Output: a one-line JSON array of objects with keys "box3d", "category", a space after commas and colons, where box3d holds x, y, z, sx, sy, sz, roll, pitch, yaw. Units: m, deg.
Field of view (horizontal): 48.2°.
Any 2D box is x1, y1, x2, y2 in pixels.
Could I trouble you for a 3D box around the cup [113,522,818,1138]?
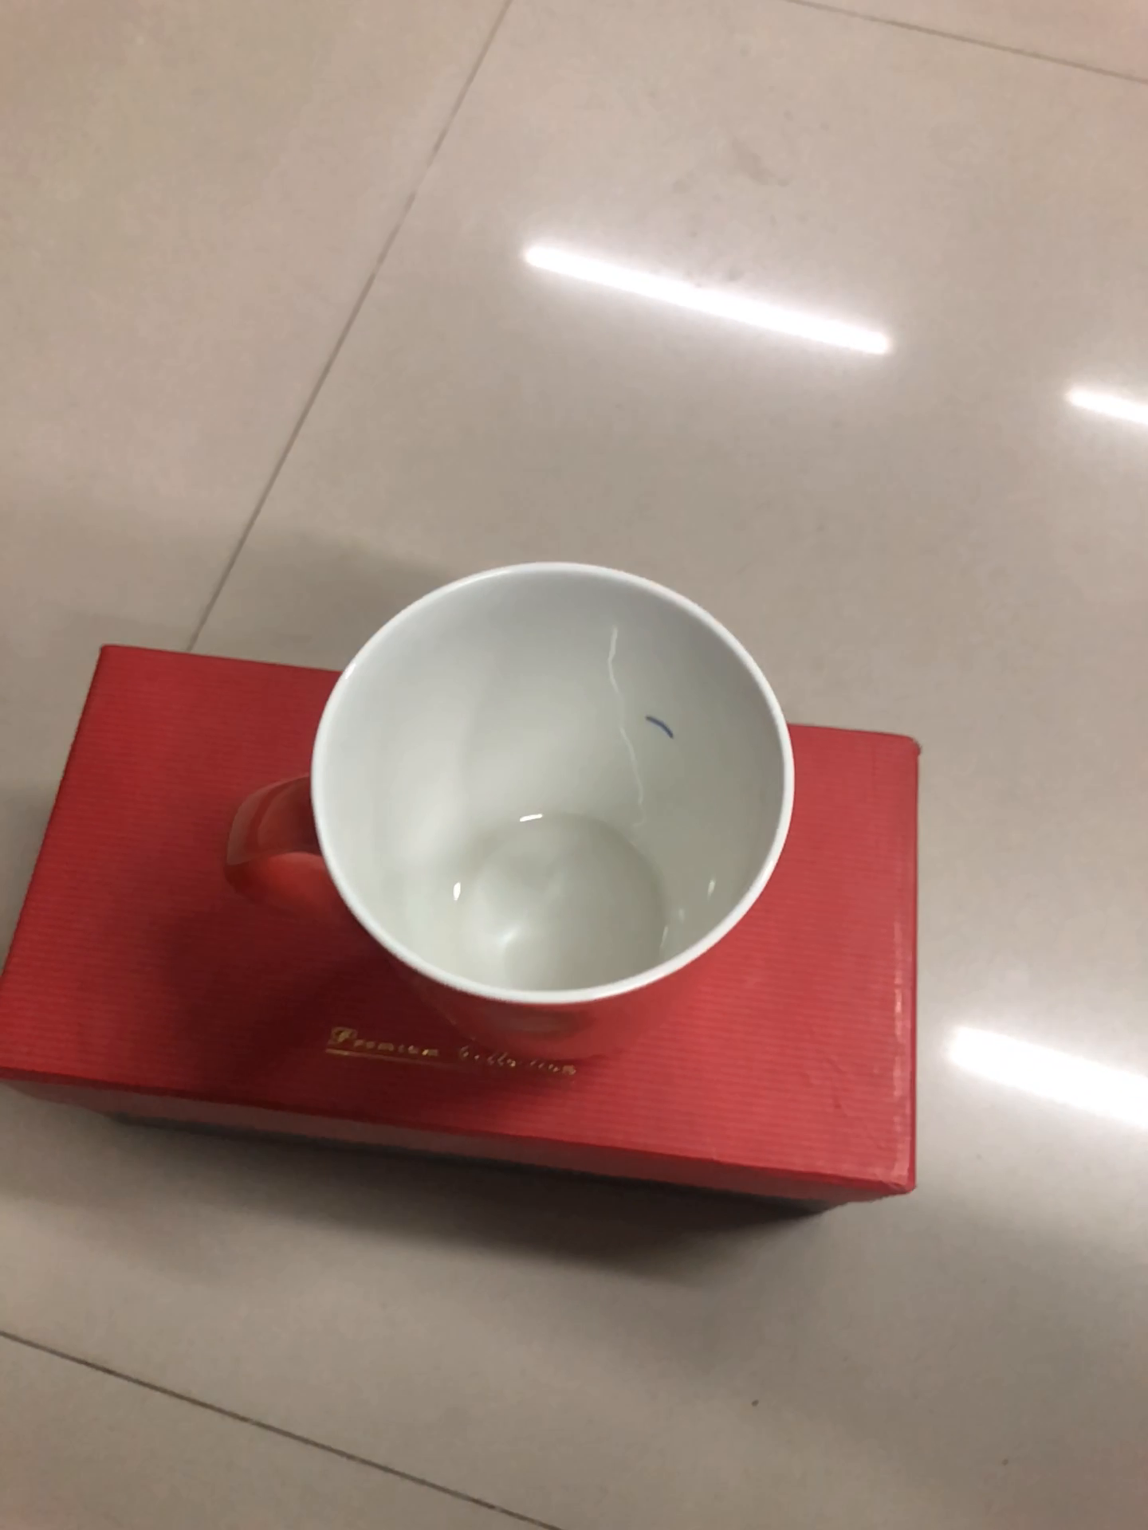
[{"box3d": [-0.015, 0.018, 0.259, 0.110, 0.090, 0.090, 4, 66, 1], "category": "cup"}]
